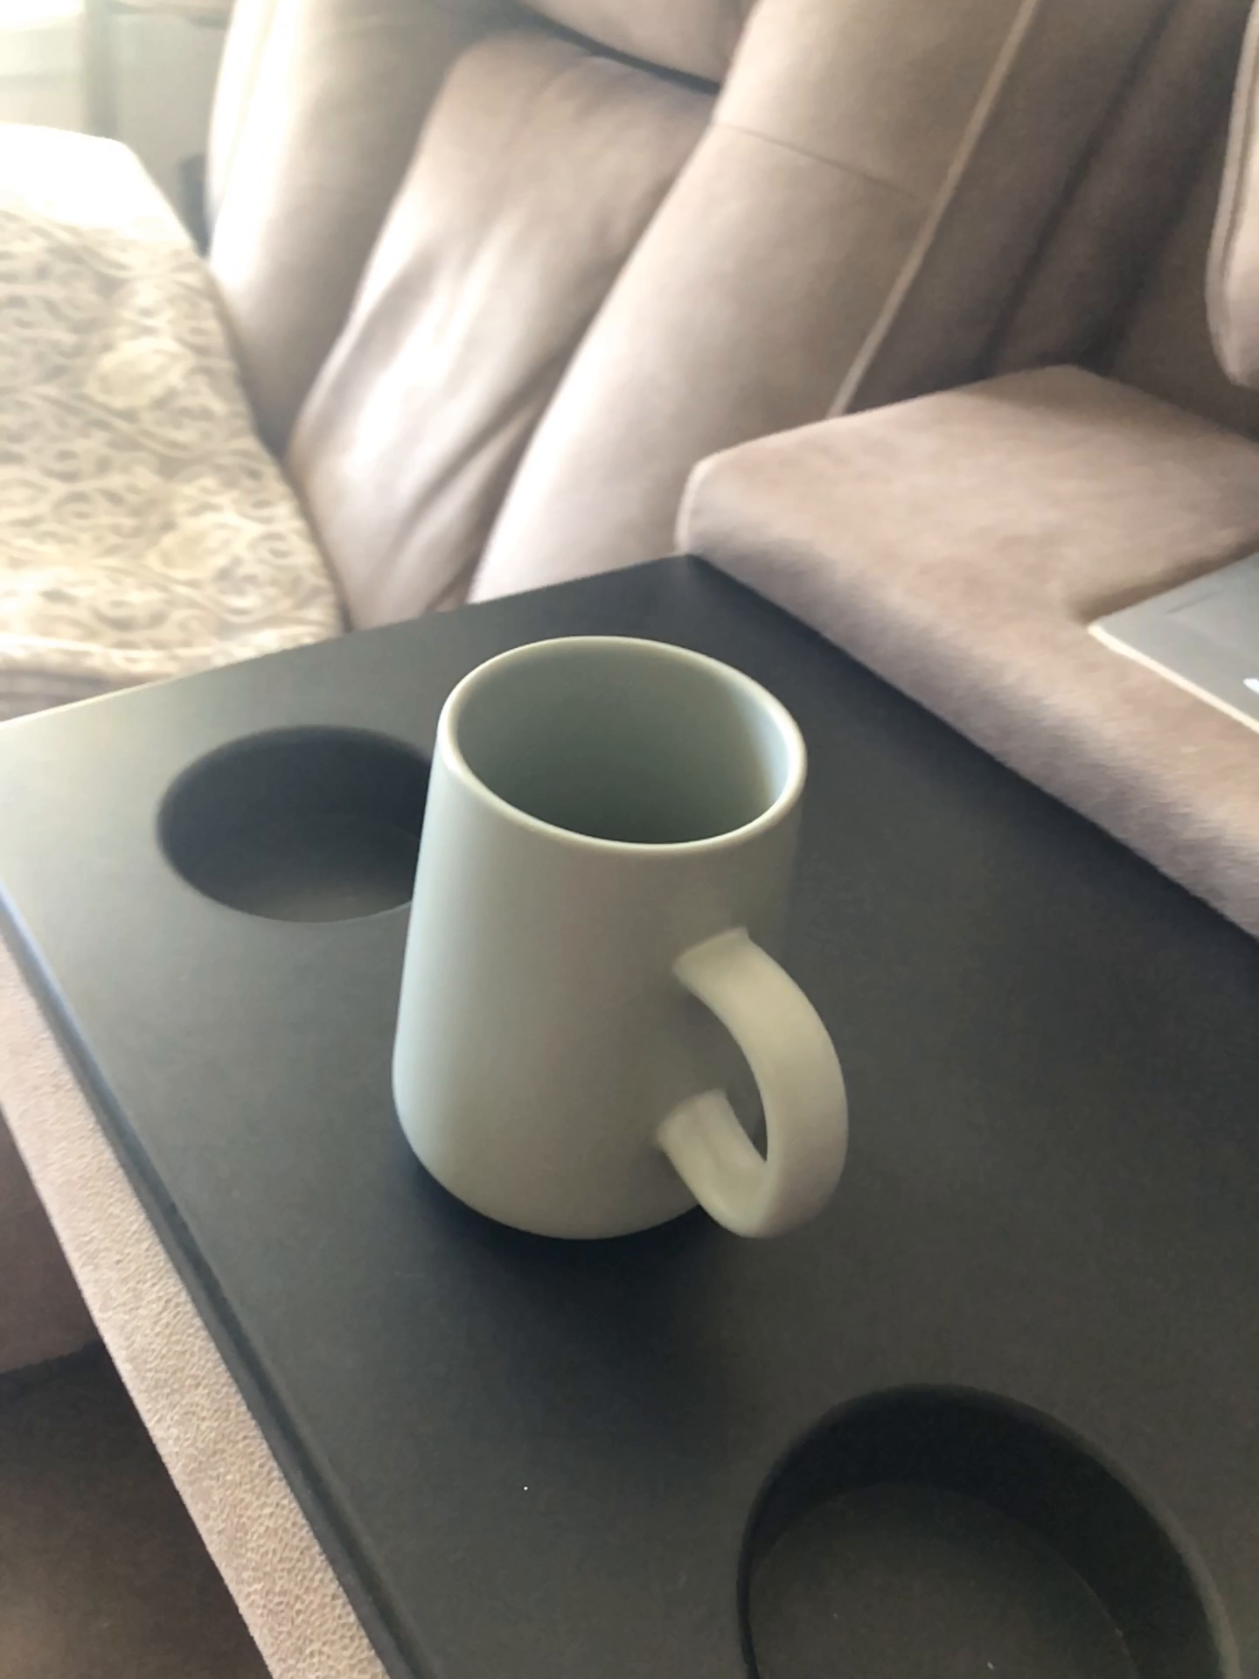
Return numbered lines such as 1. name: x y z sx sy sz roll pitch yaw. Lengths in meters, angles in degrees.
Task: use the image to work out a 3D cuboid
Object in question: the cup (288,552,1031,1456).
1. cup: -0.005 0.029 0.313 0.087 0.121 0.137 -19 45 -26
